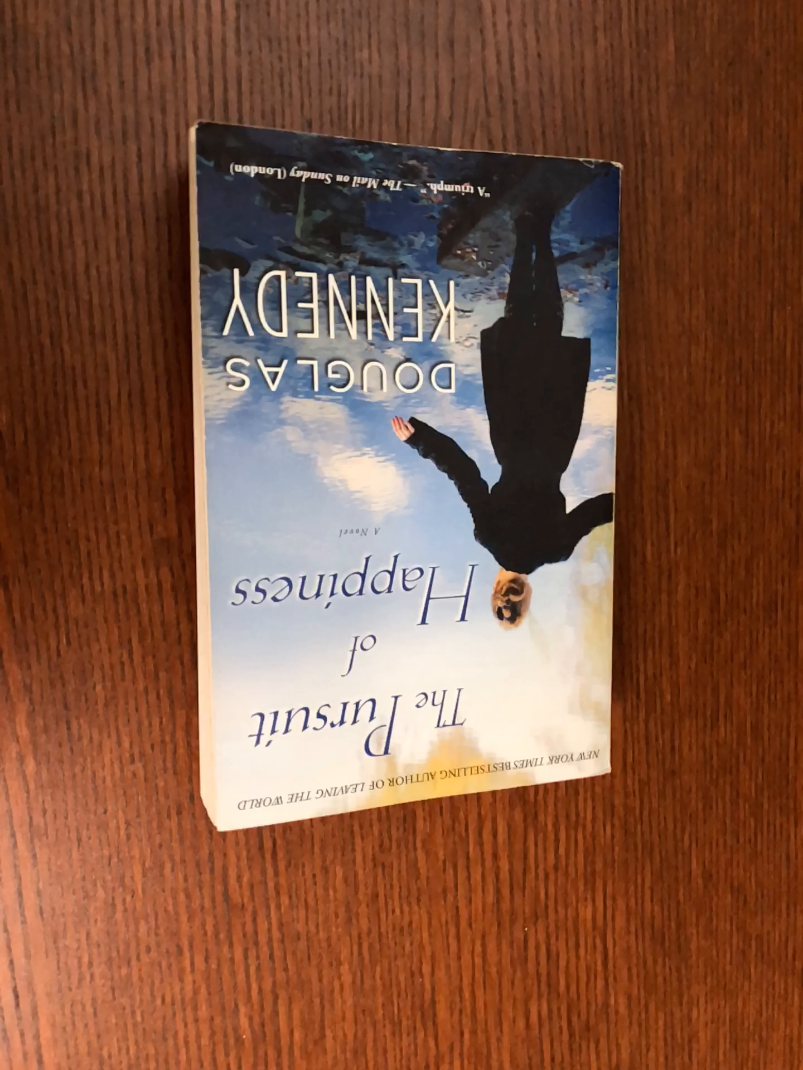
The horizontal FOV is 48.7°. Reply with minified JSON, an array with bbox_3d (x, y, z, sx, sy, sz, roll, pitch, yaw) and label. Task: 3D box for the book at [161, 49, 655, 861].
[{"bbox_3d":[0.002,-0.023,0.311,0.160,0.050,0.240,-2,95,-17],"label":"book"}]
